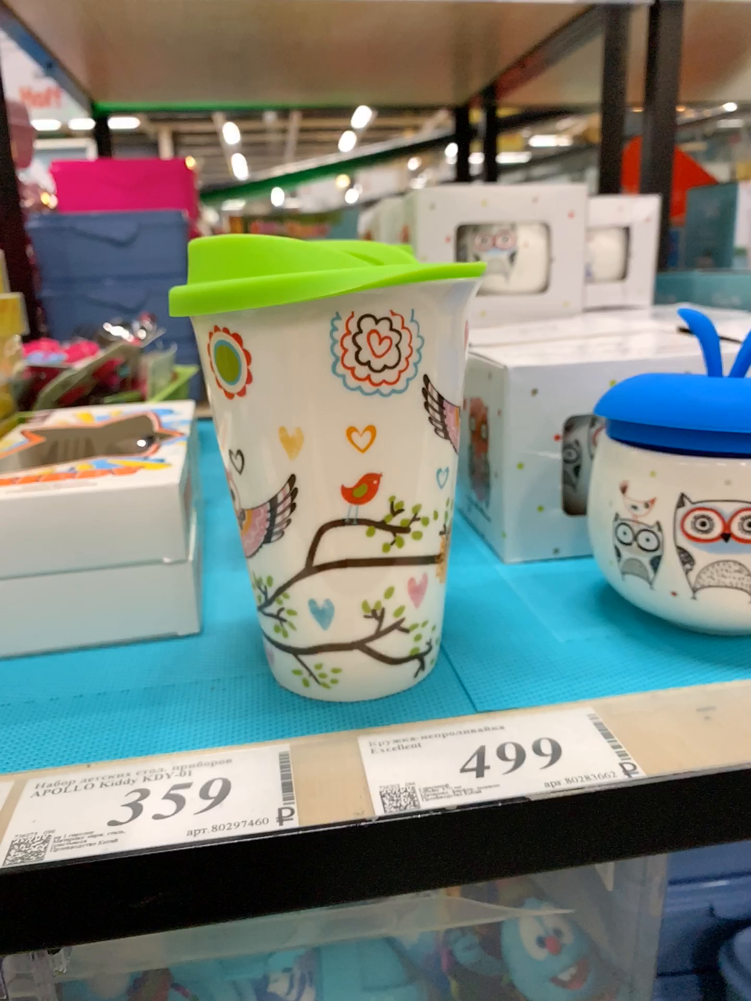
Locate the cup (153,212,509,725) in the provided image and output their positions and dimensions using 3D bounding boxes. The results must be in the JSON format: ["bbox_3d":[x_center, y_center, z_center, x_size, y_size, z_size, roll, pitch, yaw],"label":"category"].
[{"bbox_3d":[-0.015,-0.017,0.256,0.090,0.136,0.084,-2,15,1],"label":"cup"}]
